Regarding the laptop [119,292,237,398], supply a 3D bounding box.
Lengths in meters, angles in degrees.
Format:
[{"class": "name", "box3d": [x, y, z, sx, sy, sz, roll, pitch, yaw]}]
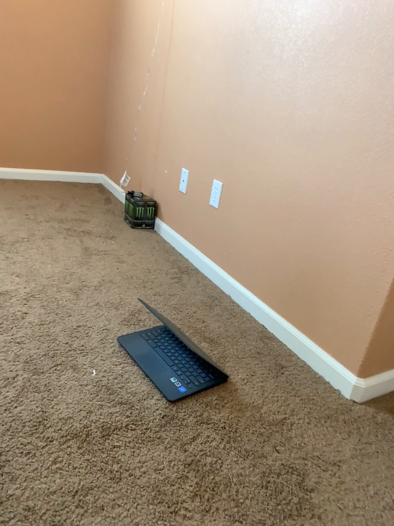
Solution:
[{"class": "laptop", "box3d": [-0.063, 0.213, 1.143, 0.195, 0.127, 0.290, -5, 26, -38]}]
